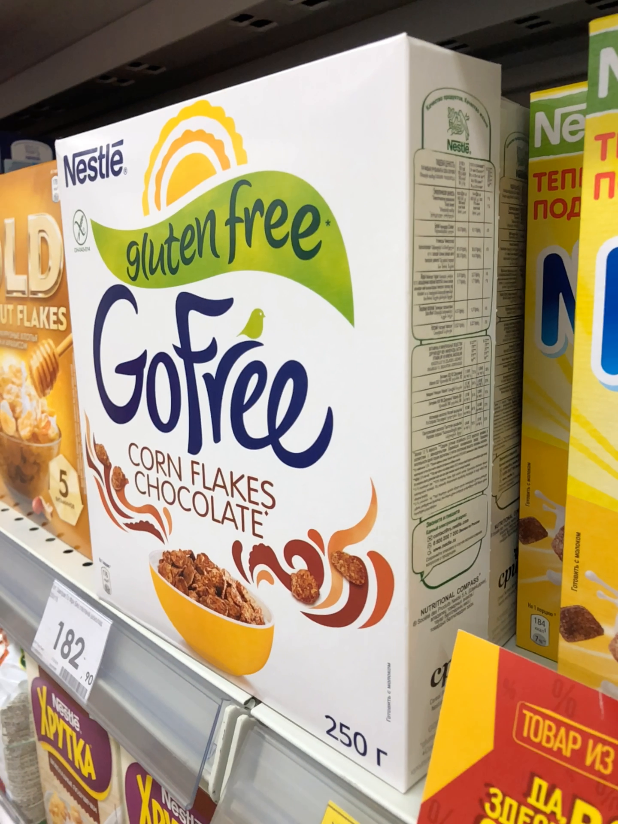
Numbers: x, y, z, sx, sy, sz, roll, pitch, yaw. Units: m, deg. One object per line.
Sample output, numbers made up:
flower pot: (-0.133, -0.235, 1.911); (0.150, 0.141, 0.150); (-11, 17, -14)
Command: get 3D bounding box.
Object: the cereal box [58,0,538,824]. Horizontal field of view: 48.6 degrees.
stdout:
cereal box: (-0.022, -0.003, 0.263); (0.050, 0.219, 0.200); (-10, 14, -42)
